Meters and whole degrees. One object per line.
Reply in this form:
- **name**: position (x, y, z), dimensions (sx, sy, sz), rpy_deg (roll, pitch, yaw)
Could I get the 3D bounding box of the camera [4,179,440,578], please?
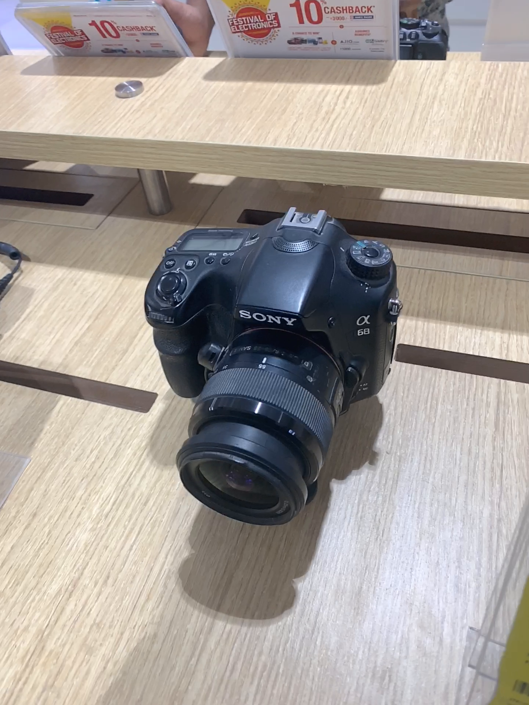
- **camera**: position (-0.004, 0.001, 0.278), dimensions (0.150, 0.100, 0.150), rpy_deg (10, 49, 17)
